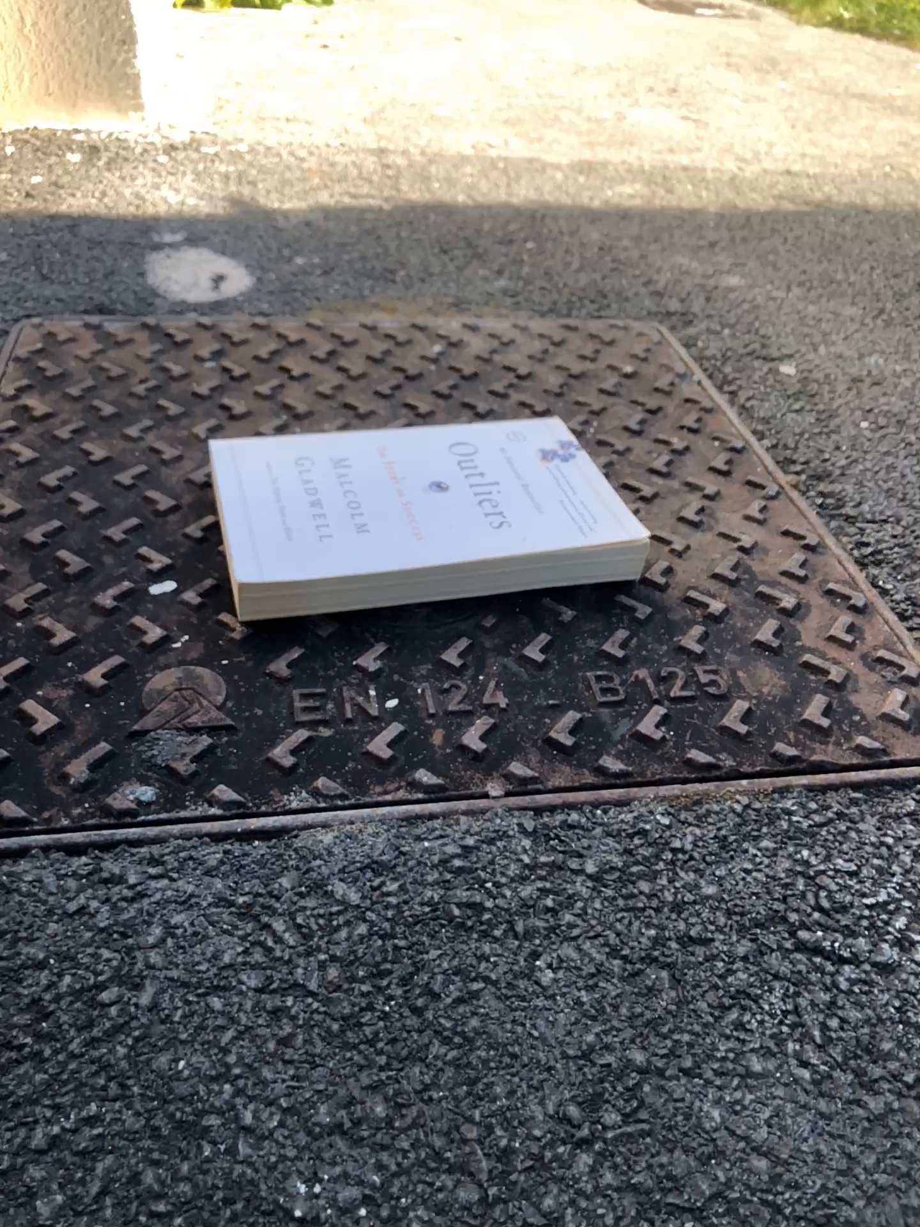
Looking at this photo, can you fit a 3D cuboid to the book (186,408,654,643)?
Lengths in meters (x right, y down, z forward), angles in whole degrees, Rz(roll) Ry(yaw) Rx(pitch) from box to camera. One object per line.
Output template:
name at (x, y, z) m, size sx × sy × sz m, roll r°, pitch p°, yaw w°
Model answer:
book at (-0.027, -0.054, 0.525) m, size 0.210 × 0.030 × 0.140 m, roll -7°, pitch 40°, yaw -16°
